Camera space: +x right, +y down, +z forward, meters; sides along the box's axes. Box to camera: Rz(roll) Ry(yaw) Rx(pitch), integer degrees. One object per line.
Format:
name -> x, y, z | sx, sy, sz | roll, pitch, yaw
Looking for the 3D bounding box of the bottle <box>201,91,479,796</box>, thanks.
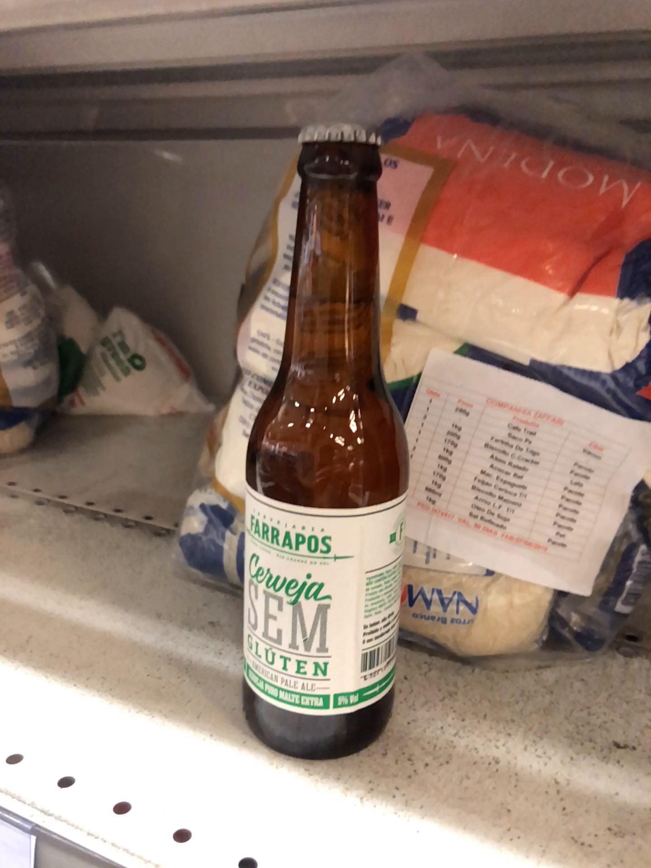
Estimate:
bottle -> 0.003, 0.005, 0.266 | 0.070, 0.229, 0.060 | 10, 18, 25
